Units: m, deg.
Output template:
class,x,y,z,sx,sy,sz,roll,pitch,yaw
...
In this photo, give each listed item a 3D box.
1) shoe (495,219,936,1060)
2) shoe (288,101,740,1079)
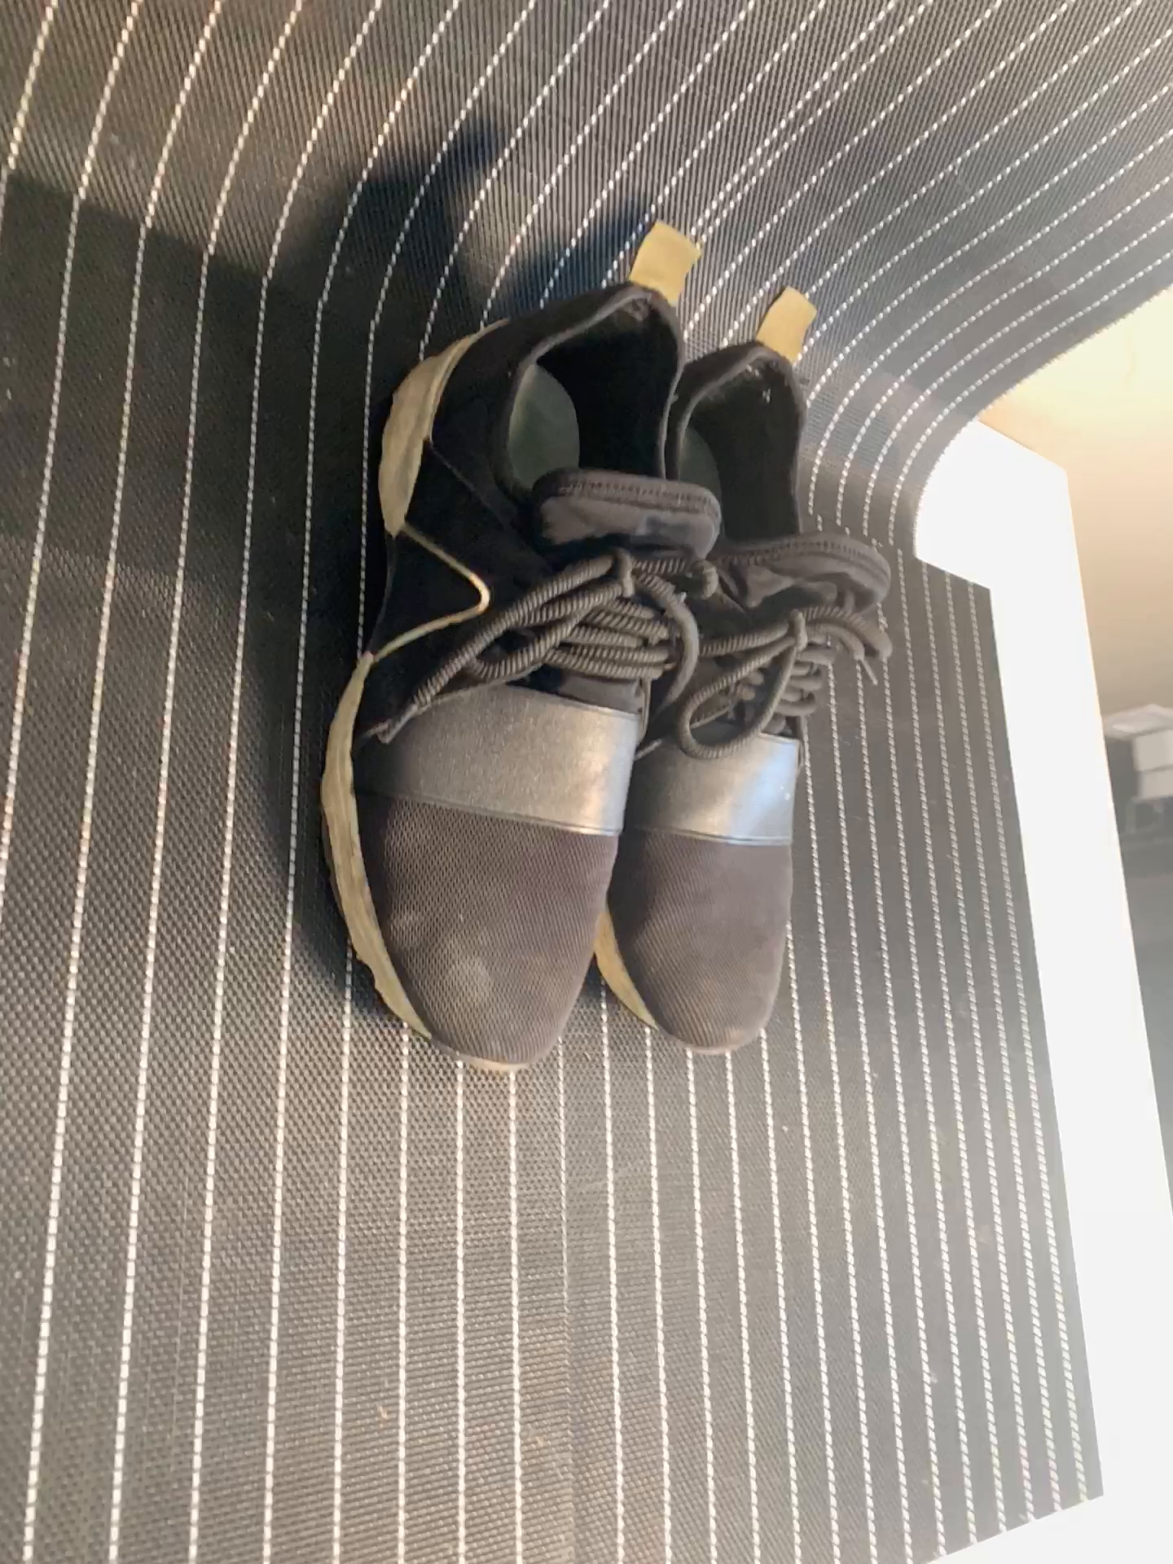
class,x,y,z,sx,sy,sz,roll,pitch,yaw
shoe,0.042,-0.045,0.449,0.100,0.090,0.280,5,73,-39
shoe,-0.021,-0.053,0.381,0.100,0.080,0.280,13,69,-37
